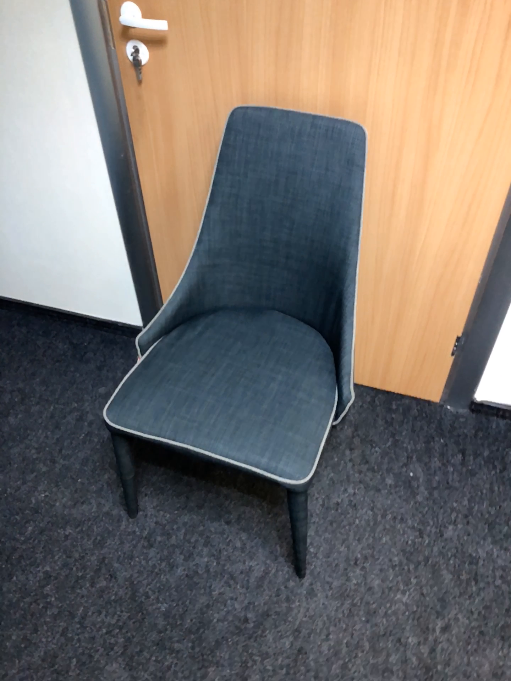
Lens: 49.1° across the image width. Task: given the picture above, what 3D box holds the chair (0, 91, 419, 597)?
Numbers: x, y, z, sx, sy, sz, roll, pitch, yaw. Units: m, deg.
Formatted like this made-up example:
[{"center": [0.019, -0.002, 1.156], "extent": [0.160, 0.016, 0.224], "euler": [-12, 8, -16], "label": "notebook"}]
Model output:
[{"center": [-0.019, 0.014, 1.269], "extent": [0.520, 0.845, 0.644], "euler": [14, 47, 15], "label": "chair"}]
